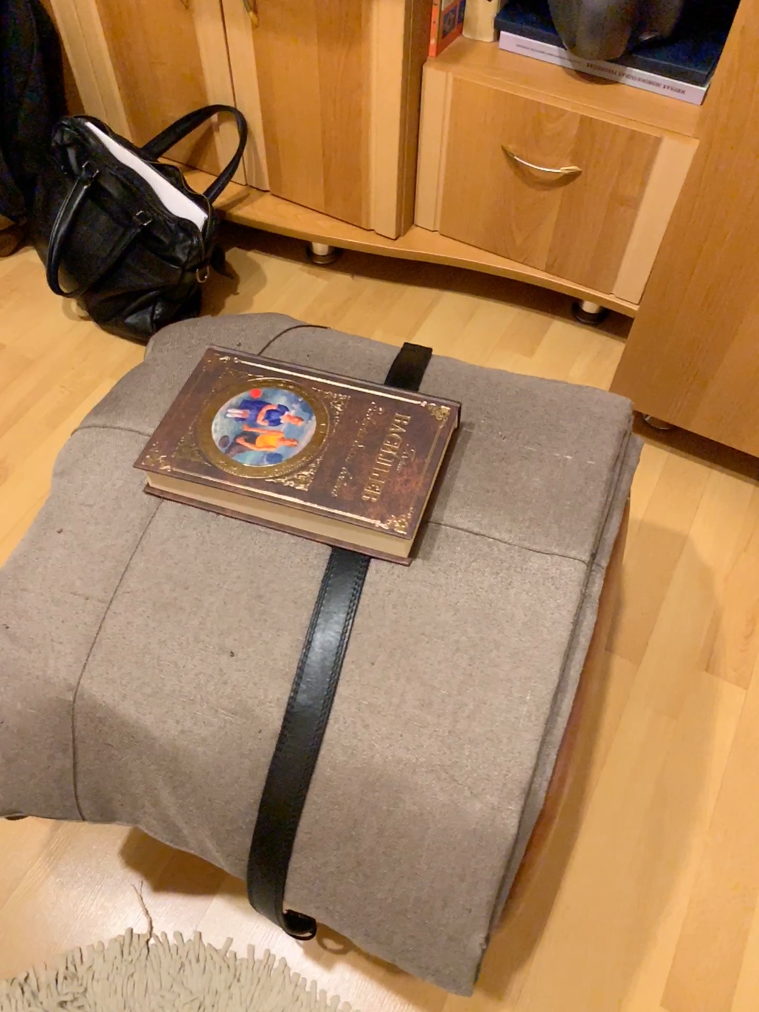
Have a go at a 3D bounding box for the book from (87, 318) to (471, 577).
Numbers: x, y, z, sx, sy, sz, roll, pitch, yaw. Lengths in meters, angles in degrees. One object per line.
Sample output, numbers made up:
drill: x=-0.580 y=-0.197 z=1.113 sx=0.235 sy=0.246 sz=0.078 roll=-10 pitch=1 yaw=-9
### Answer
book: x=-0.062 y=-0.048 z=0.534 sx=0.220 sy=0.050 sz=0.141 roll=12 pitch=56 yaw=14
